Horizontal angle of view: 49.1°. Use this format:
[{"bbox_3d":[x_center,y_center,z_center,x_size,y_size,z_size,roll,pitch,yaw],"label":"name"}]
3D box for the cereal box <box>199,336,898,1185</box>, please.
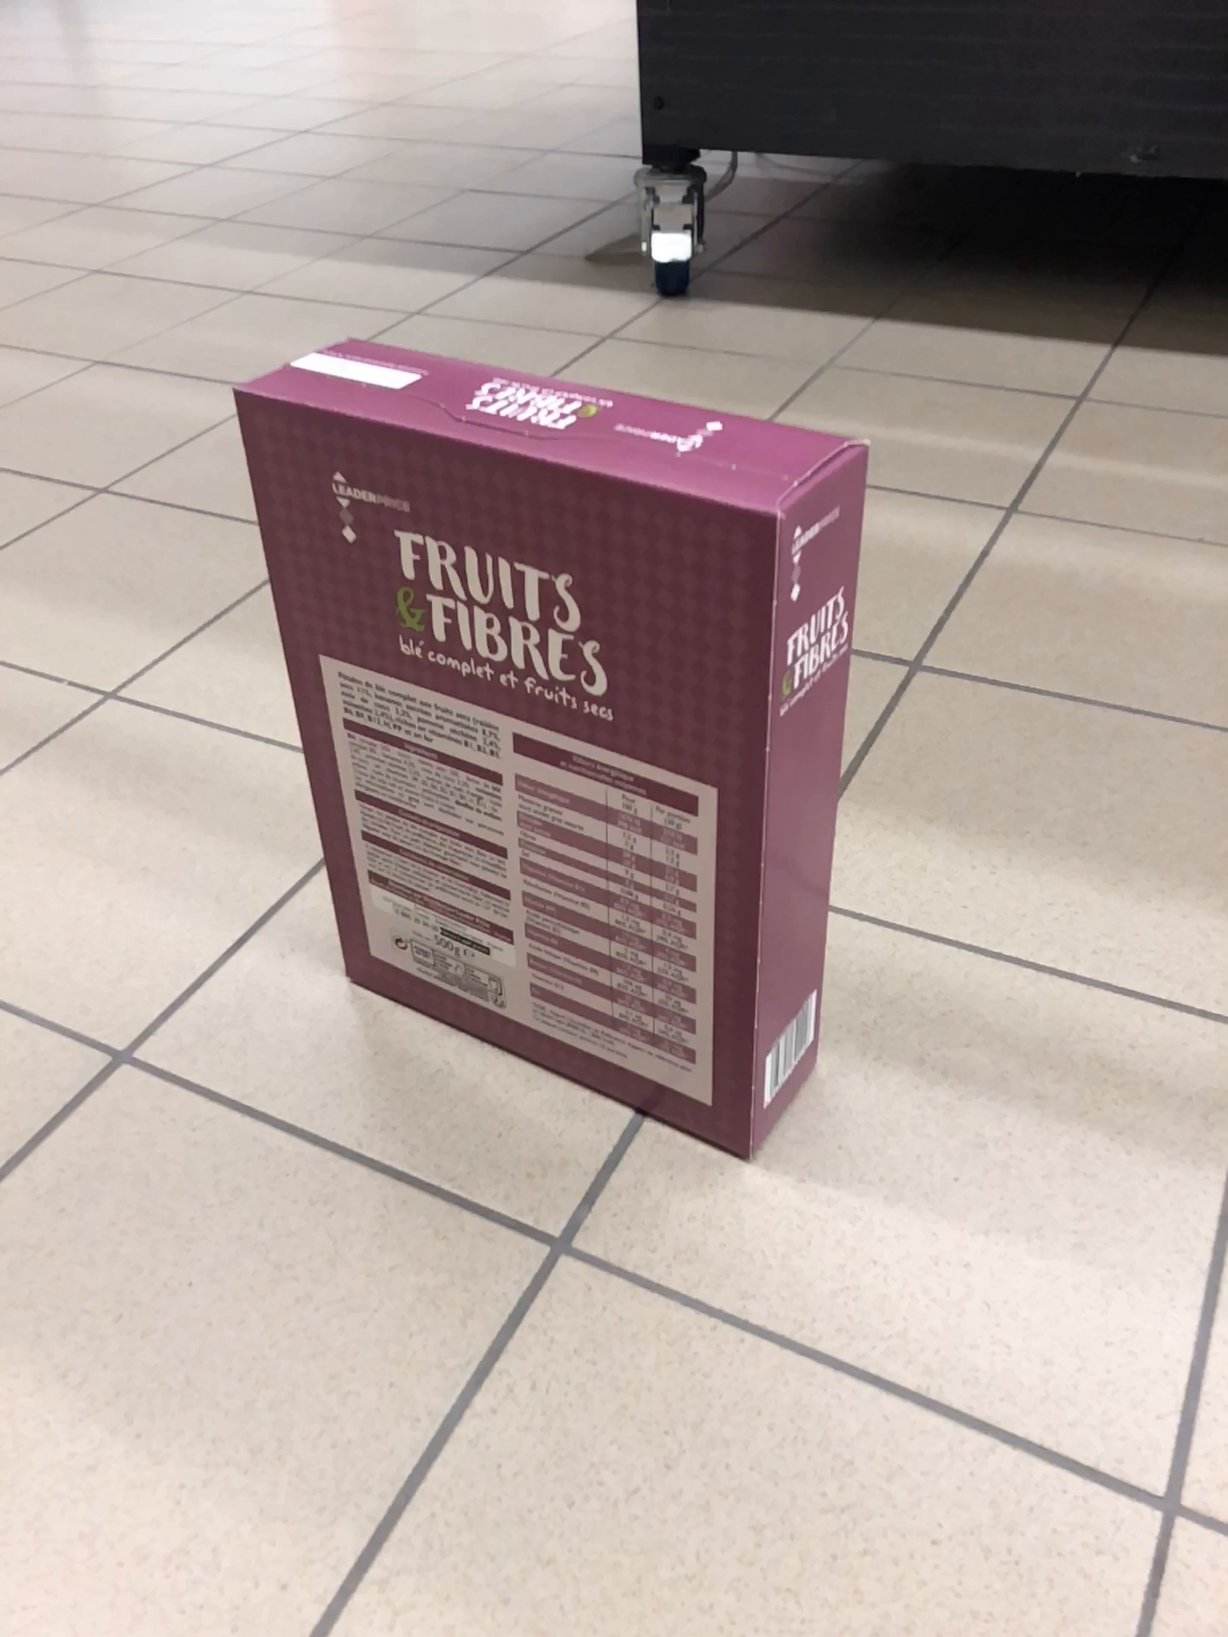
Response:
[{"bbox_3d":[-0.021,-0.017,0.475,0.210,0.258,0.060,19,42,26],"label":"cereal box"}]
